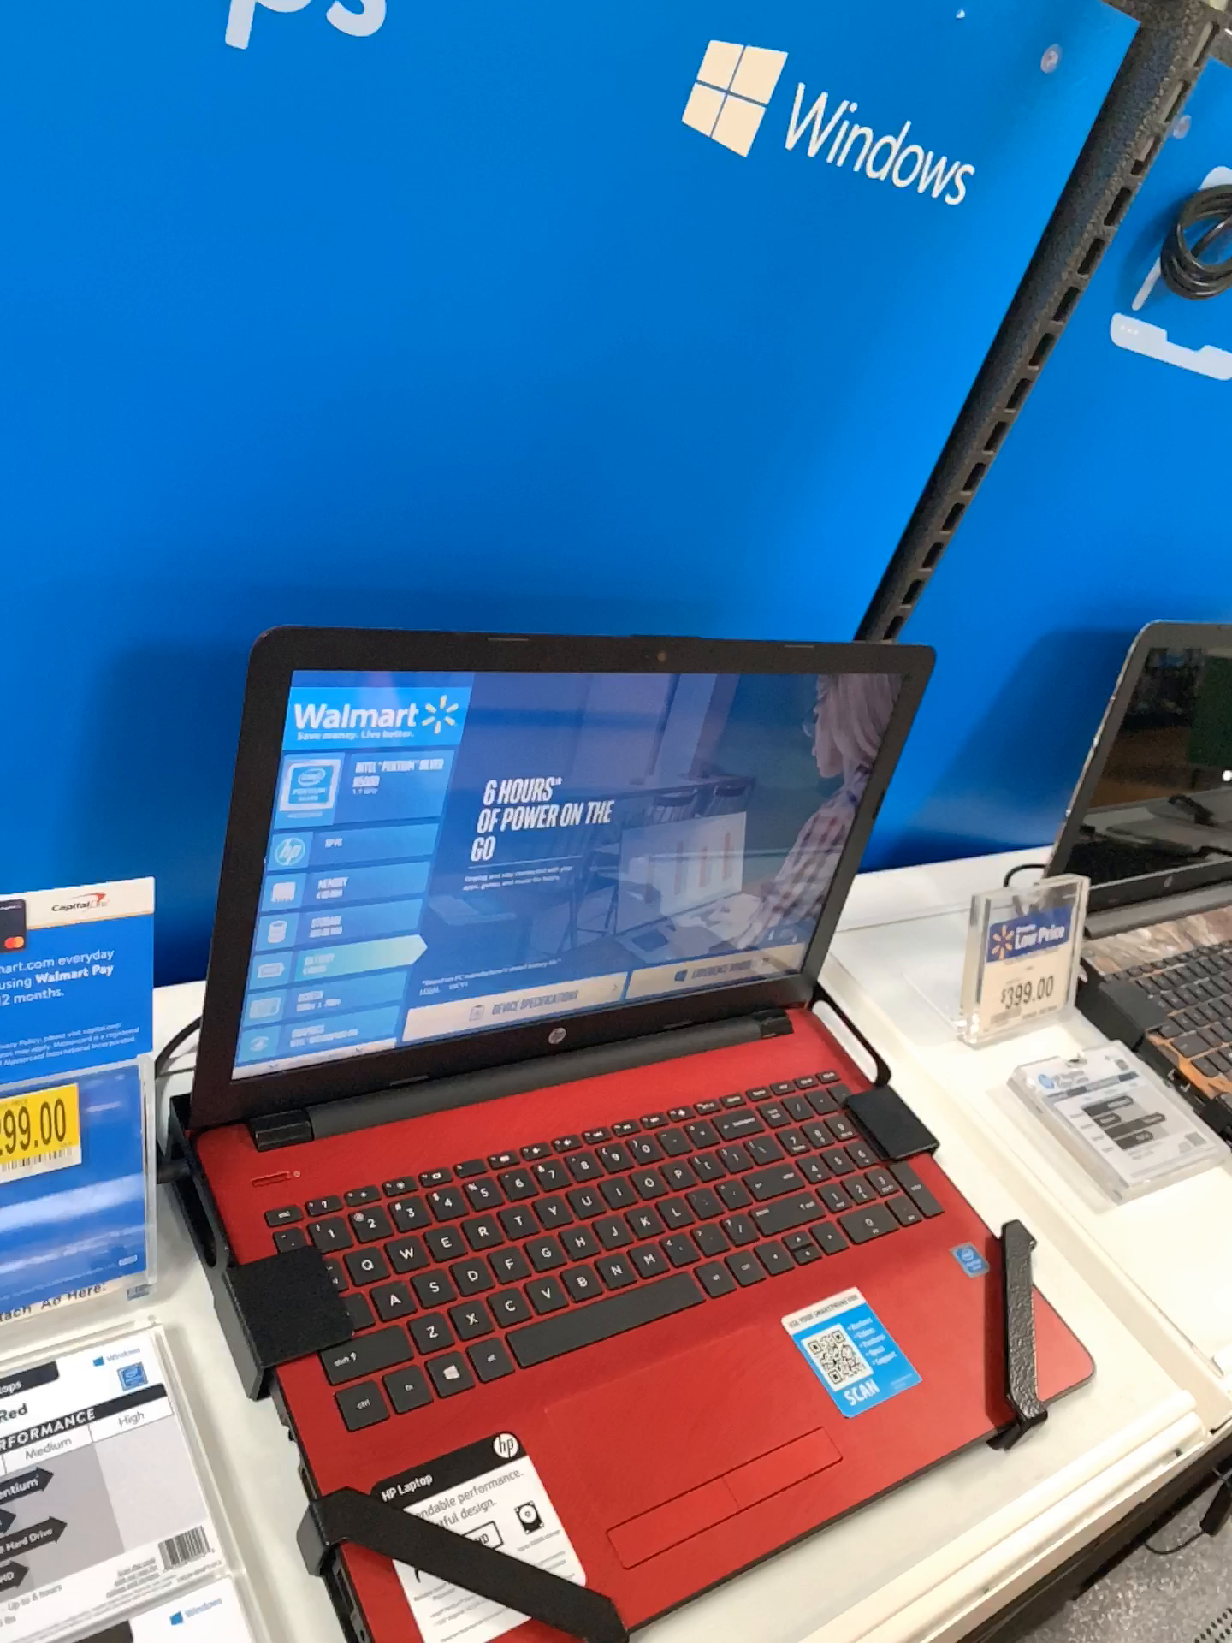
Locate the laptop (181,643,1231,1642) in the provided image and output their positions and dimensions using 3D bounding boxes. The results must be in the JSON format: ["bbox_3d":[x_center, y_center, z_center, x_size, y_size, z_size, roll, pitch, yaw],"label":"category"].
[{"bbox_3d":[0.056,0.099,0.532,0.364,0.223,0.280,-5,42,-36],"label":"laptop"}]
